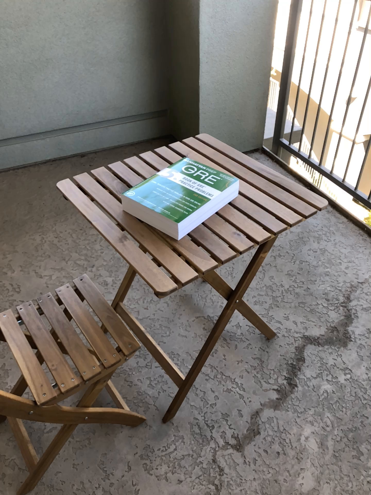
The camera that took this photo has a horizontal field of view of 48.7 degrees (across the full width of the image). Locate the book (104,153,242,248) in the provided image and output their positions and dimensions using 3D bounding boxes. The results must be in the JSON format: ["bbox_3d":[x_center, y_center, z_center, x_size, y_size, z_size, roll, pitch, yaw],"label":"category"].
[{"bbox_3d":[-0.031,-0.152,1.191,0.250,0.060,0.311,28,49,30],"label":"book"}]
